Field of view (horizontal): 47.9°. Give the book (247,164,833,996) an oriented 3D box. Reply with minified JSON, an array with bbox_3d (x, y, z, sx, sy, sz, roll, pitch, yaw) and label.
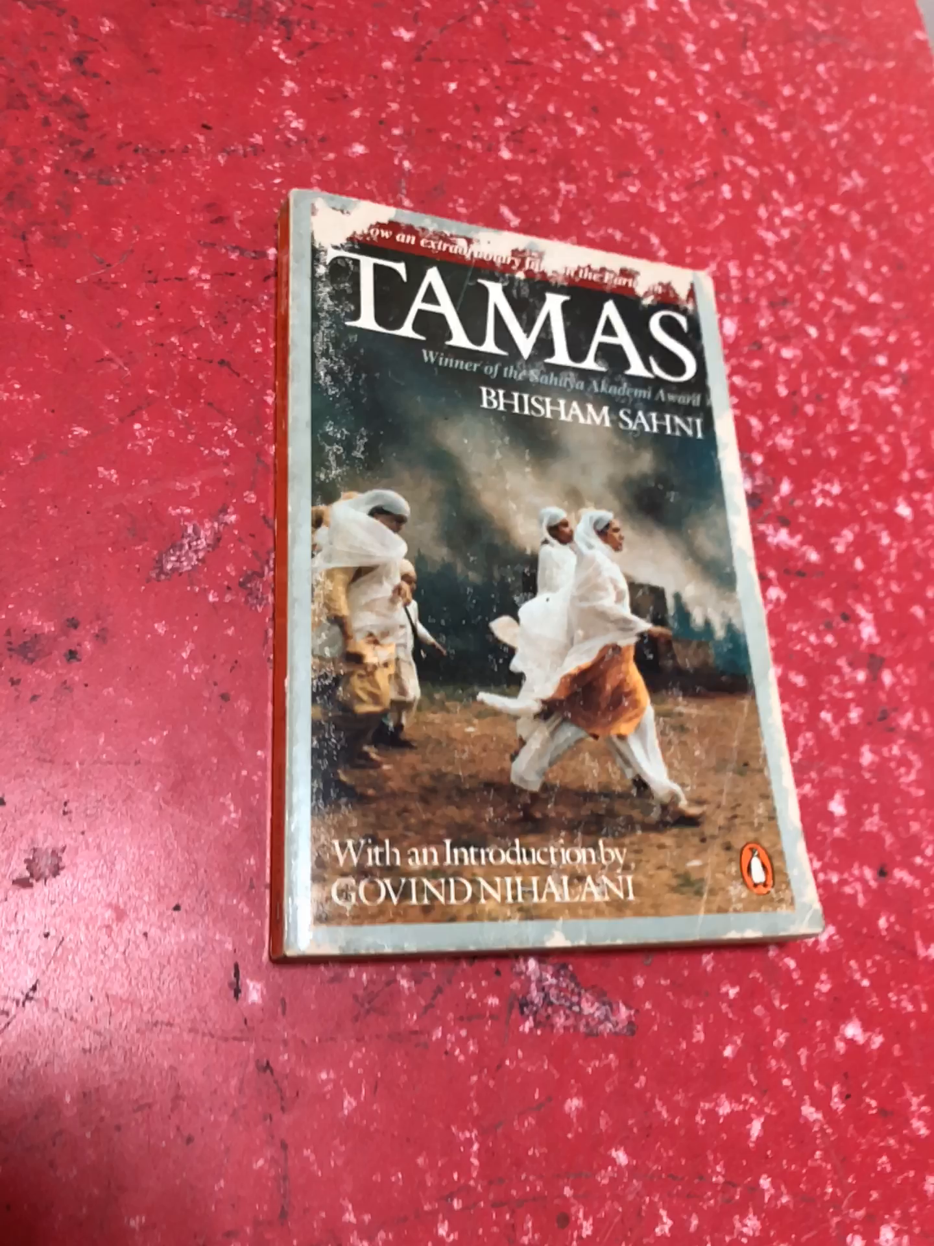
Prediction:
[{"bbox_3d":[0.013,-0.016,0.264,0.130,0.020,0.200,4,68,-20],"label":"book"}]
